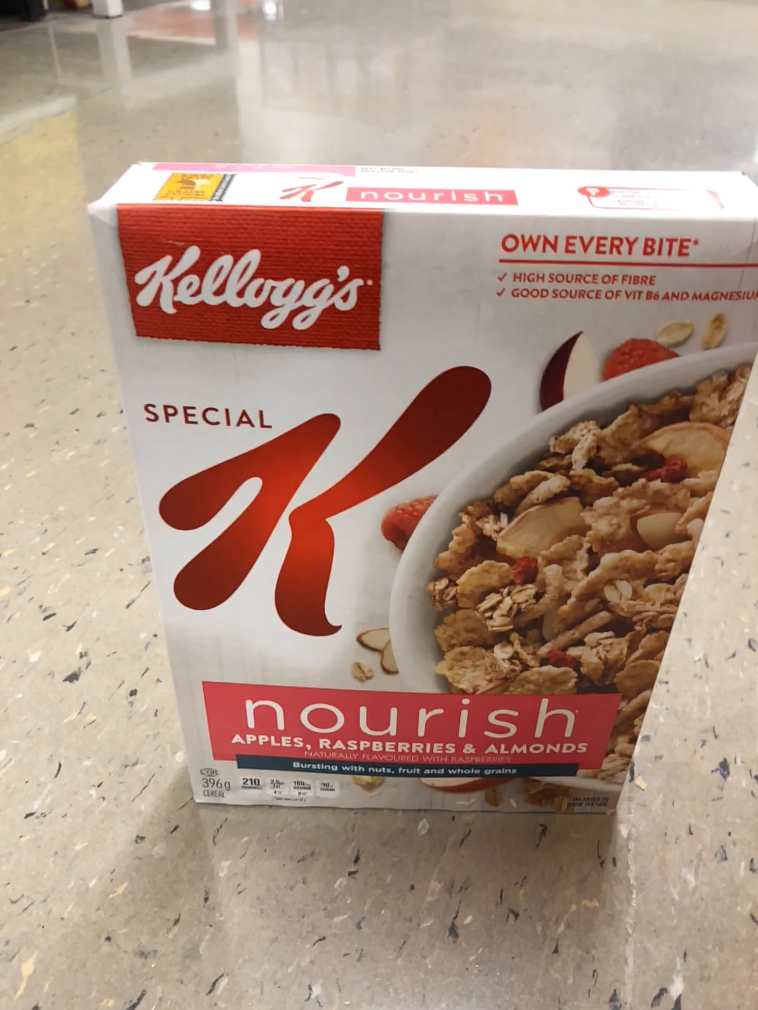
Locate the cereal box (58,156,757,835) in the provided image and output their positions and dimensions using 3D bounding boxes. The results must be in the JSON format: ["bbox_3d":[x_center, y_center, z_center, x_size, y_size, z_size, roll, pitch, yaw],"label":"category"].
[{"bbox_3d":[0.018,0.024,0.330,0.210,0.289,0.050,1,37,0],"label":"cereal box"}]
